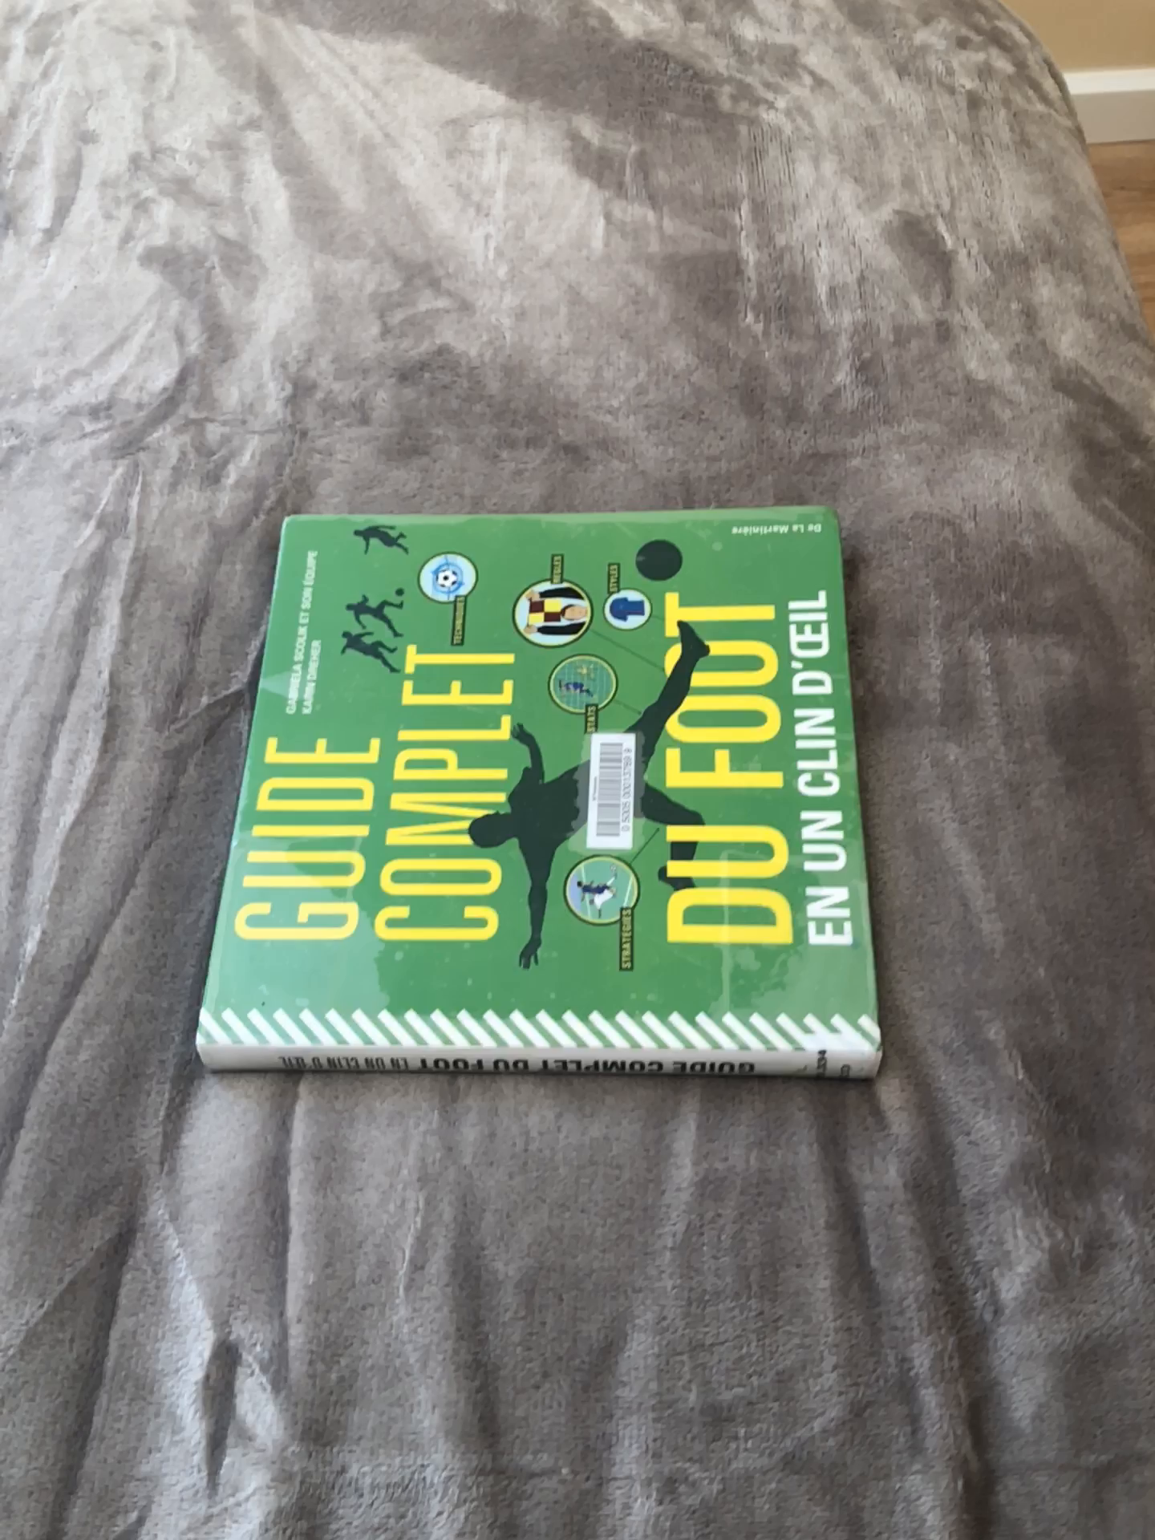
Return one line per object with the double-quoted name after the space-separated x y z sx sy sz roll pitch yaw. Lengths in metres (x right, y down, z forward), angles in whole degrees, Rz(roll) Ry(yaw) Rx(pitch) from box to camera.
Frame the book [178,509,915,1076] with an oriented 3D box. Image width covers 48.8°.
-0.009 -0.001 0.475 0.238 0.019 0.228 -1 60 3 "book"
